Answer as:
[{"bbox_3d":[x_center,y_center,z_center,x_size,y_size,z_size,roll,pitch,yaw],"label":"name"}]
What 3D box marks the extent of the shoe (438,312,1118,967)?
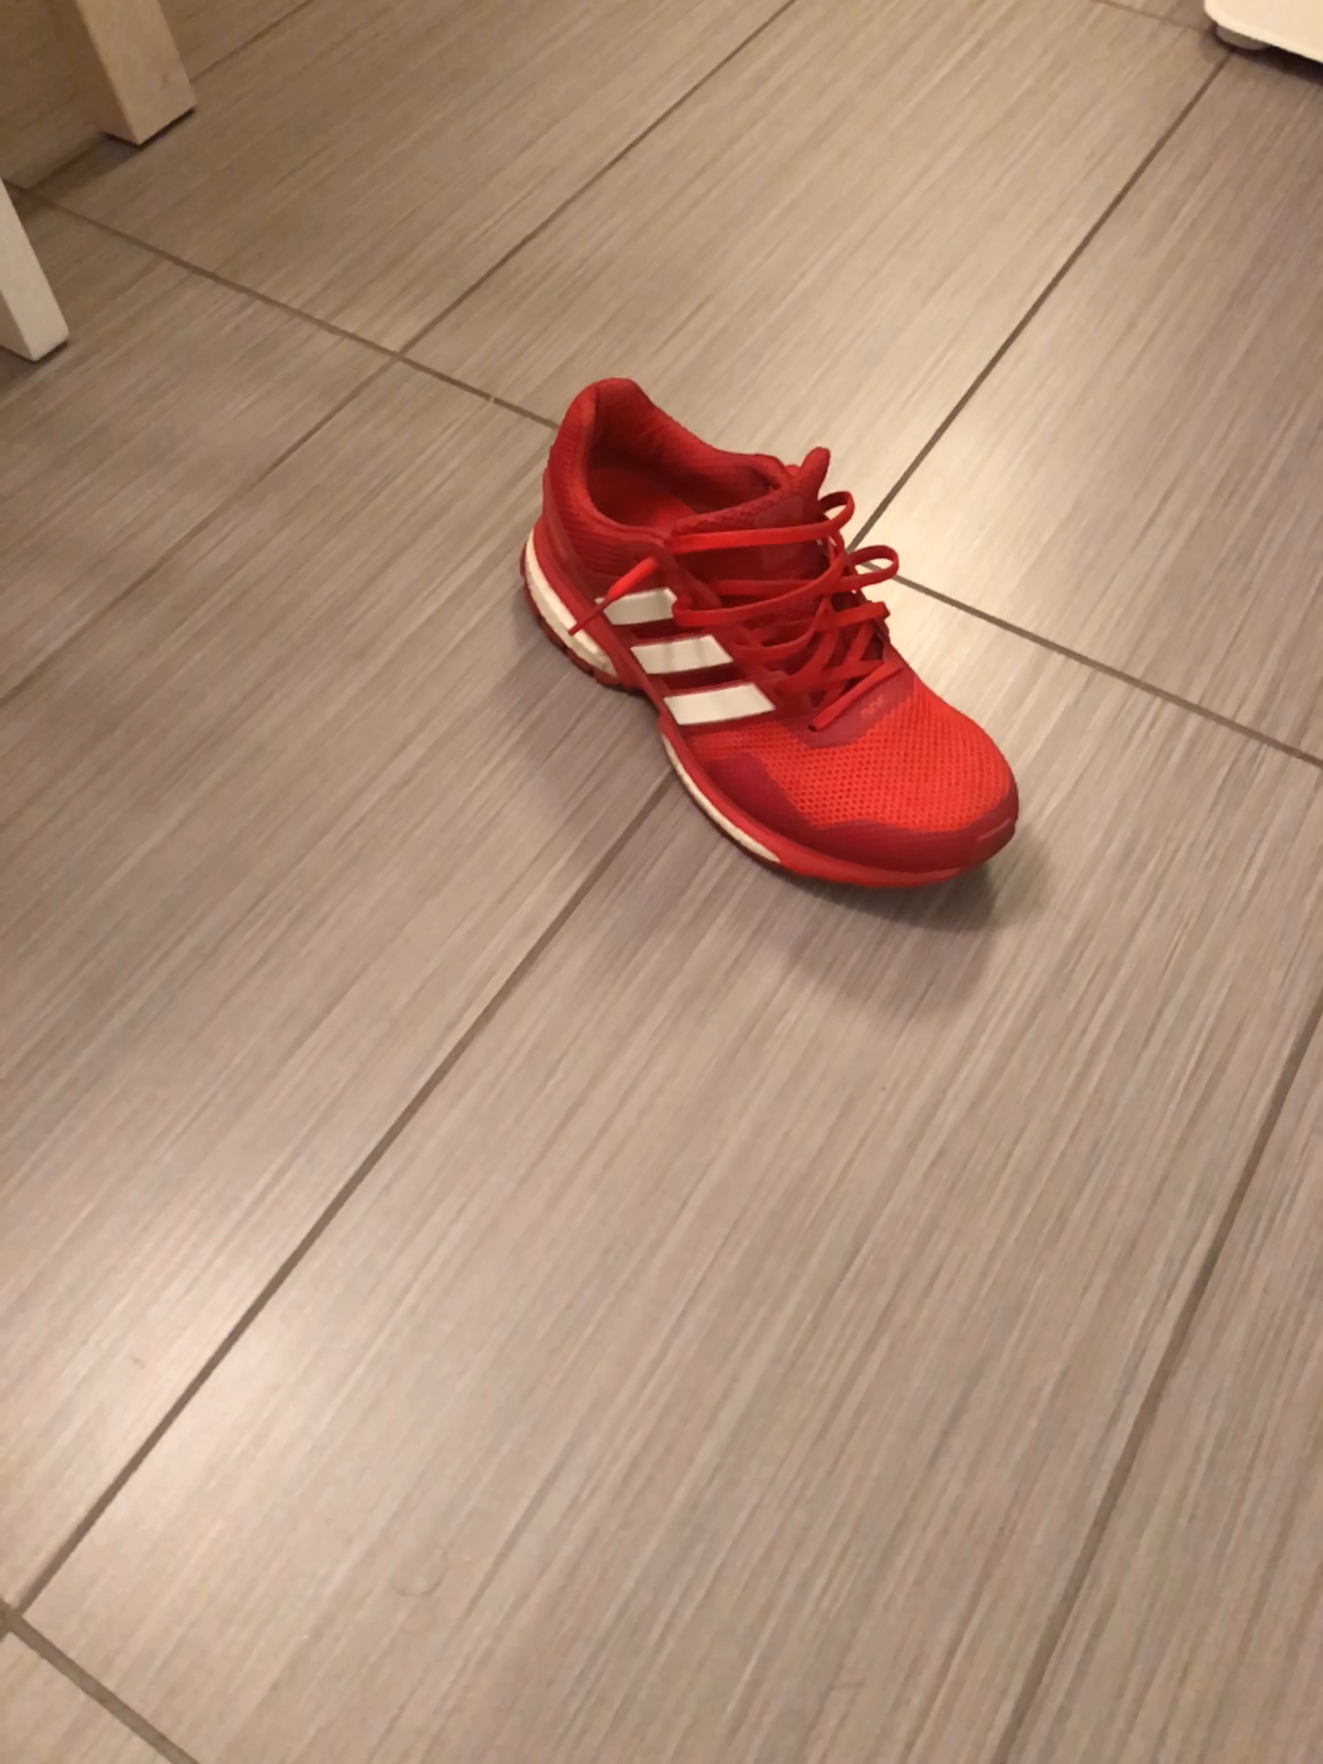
[{"bbox_3d":[0.040,-0.117,0.650,0.120,0.100,0.291,-35,63,-20],"label":"shoe"}]
